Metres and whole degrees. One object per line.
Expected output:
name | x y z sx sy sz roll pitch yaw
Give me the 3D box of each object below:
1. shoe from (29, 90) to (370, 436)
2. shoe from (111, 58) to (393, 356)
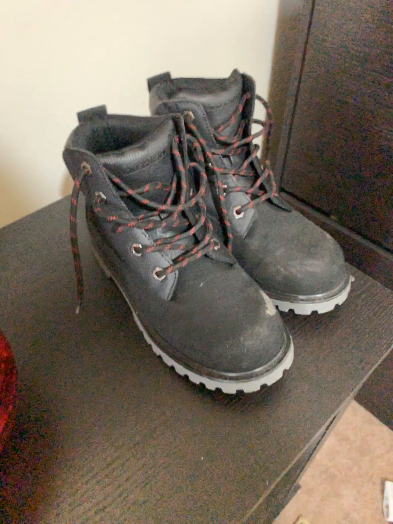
shoe | -0.011 -0.010 0.325 0.100 0.159 0.221 -34 54 -28
shoe | 0.043 -0.060 0.375 0.100 0.159 0.231 -34 54 -28
